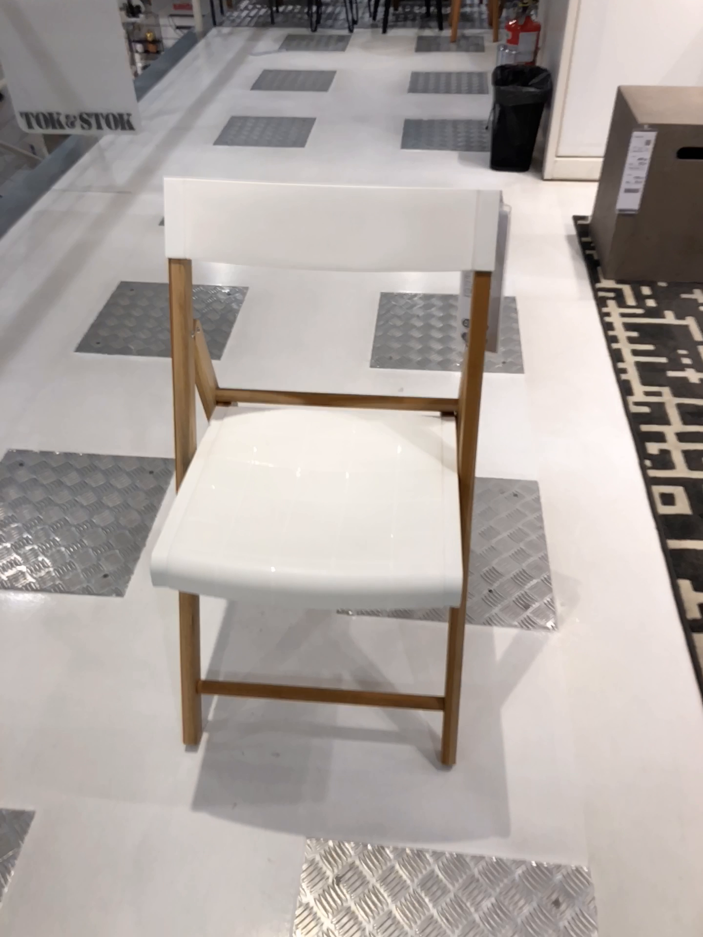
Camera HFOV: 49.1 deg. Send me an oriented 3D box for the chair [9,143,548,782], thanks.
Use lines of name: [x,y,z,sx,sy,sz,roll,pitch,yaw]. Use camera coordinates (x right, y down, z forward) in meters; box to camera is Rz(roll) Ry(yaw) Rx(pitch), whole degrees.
chair: [-0.041,-0.006,1.103,0.470,0.705,0.554,2,41,4]
